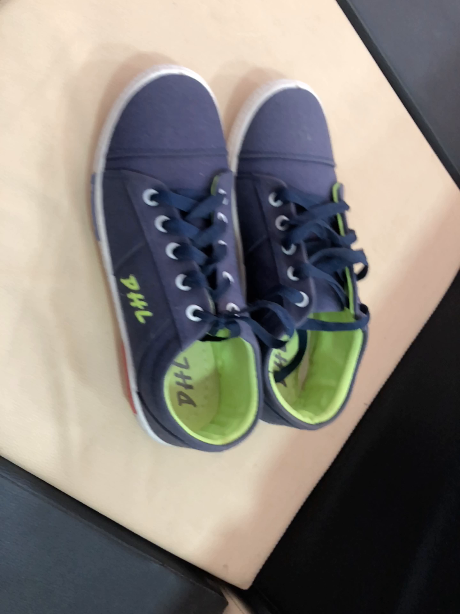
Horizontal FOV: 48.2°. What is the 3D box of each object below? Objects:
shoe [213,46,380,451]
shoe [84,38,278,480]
[{"bbox_3d":[0.053,-0.041,0.400,0.090,0.080,0.270,-8,101,-26],"label":"shoe"},{"bbox_3d":[-0.034,-0.030,0.362,0.090,0.089,0.260,-8,101,-26],"label":"shoe"}]
